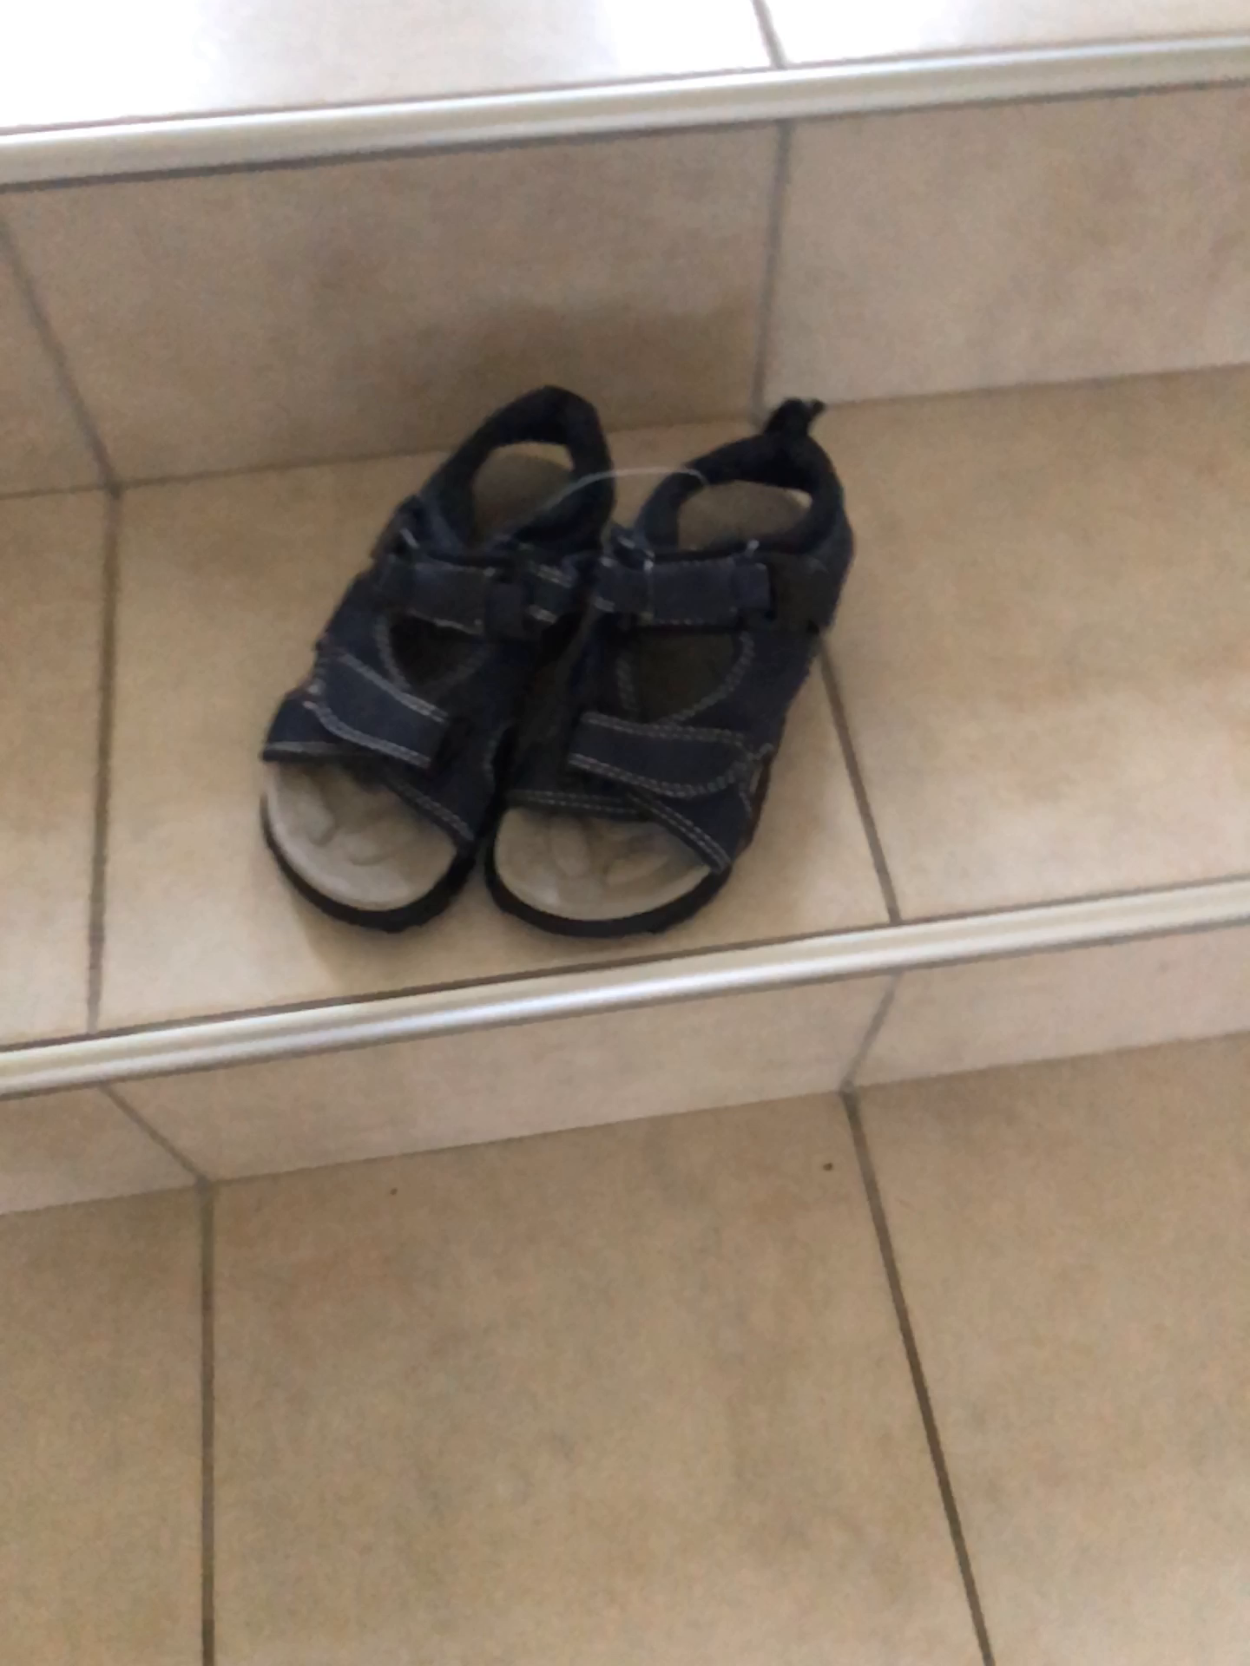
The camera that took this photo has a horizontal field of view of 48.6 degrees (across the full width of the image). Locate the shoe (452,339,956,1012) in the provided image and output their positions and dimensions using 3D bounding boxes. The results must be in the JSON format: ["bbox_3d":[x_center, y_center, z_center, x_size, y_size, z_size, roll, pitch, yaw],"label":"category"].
[{"bbox_3d":[0.036,-0.066,0.527,0.100,0.090,0.231,20,61,11],"label":"shoe"}]

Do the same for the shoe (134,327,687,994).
[{"bbox_3d":[-0.067,-0.072,0.530,0.100,0.090,0.231,20,61,11],"label":"shoe"}]
